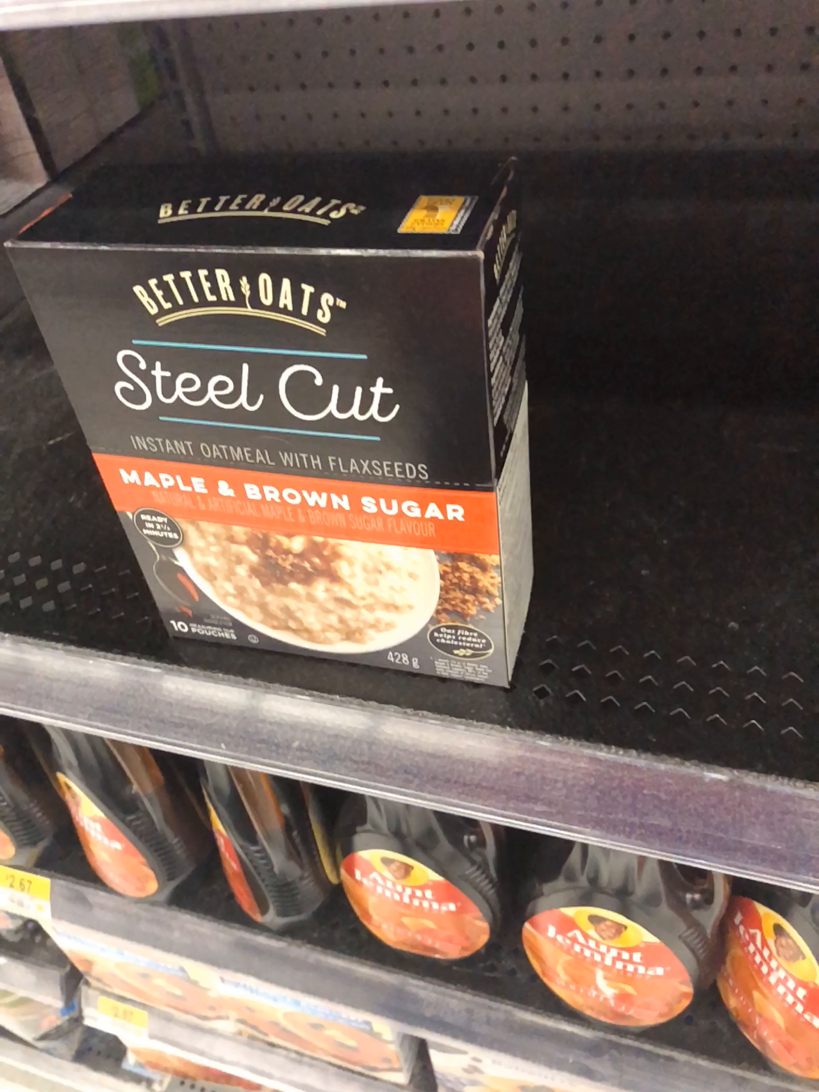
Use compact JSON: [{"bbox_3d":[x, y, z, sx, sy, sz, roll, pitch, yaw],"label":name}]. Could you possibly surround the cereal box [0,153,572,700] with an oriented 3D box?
[{"bbox_3d":[-0.026,-0.038,0.336,0.160,0.179,0.070,6,44,16],"label":"cereal box"}]
